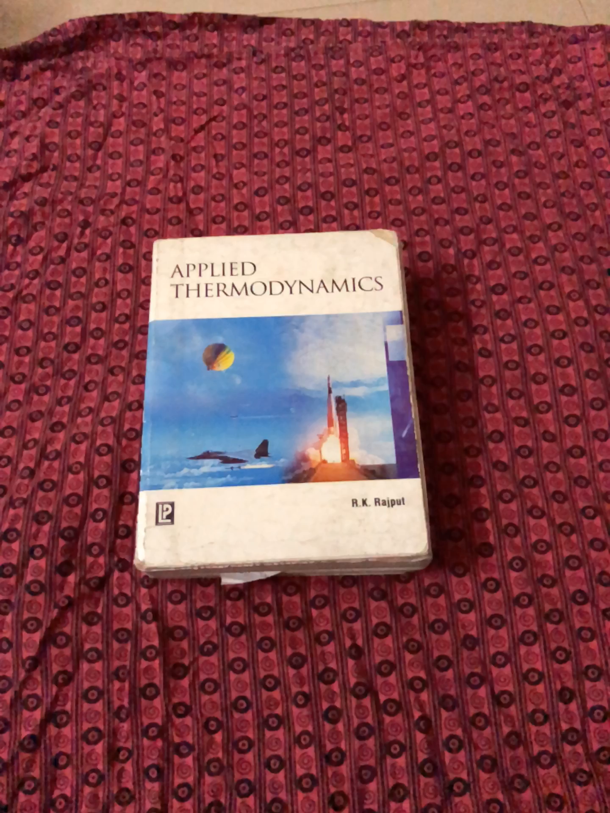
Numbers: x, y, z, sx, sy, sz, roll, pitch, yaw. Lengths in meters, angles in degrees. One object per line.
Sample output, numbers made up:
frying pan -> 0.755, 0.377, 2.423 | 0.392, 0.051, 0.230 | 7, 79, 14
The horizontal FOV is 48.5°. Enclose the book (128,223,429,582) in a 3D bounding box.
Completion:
book -> -0.020, -0.007, 0.473 | 0.178, 0.060, 0.240 | -2, 68, 0
